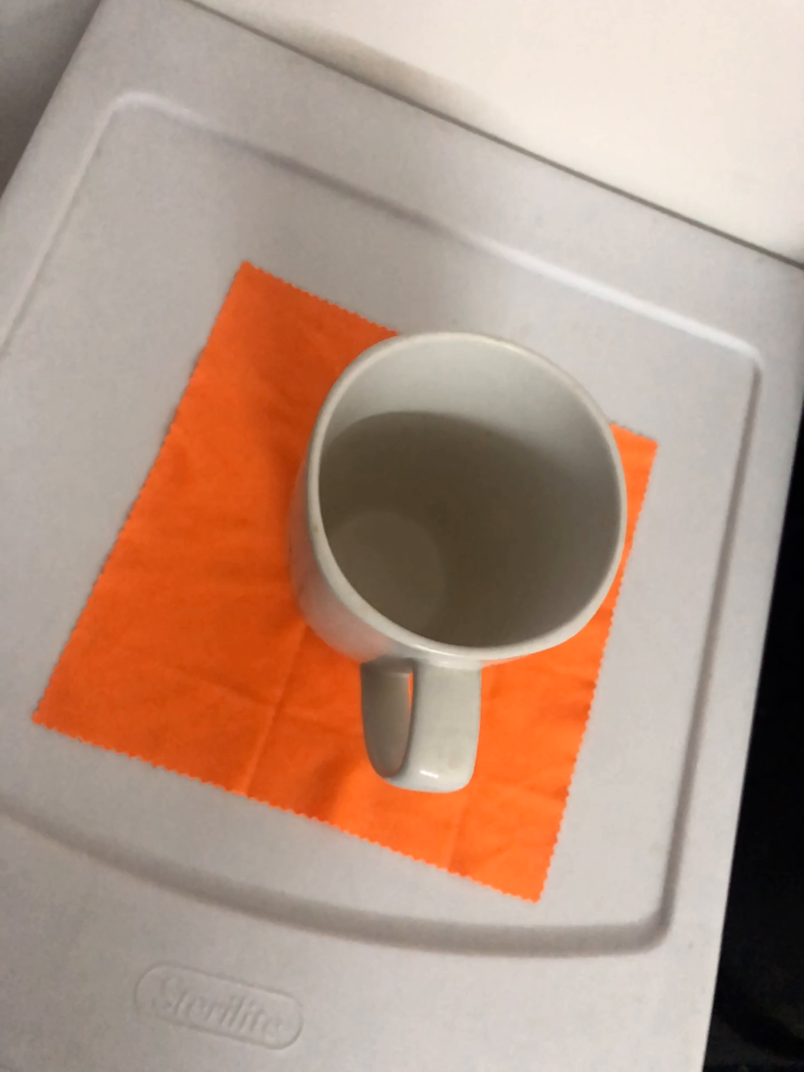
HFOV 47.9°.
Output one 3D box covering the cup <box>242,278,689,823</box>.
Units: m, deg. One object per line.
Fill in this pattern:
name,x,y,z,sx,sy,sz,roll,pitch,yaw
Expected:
cup,0.014,0.013,0.268,0.090,0.100,0.120,13,73,-11
